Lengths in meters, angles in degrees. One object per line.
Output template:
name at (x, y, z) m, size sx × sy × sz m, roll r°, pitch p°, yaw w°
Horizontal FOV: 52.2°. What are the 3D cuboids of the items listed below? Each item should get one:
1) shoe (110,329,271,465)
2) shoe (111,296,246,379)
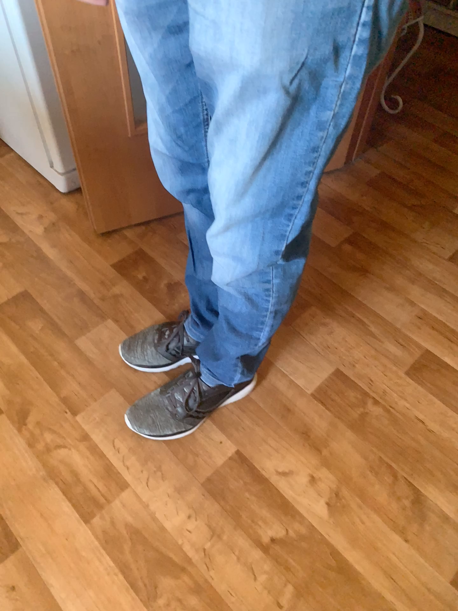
shoe at (-0.076, 0.182, 0.967) m, size 0.290 × 0.100 × 0.134 m, roll -23°, pitch 57°, yaw -20°
shoe at (-0.115, 0.070, 1.050) m, size 0.280 × 0.100 × 0.124 m, roll -6°, pitch 53°, yaw -8°
